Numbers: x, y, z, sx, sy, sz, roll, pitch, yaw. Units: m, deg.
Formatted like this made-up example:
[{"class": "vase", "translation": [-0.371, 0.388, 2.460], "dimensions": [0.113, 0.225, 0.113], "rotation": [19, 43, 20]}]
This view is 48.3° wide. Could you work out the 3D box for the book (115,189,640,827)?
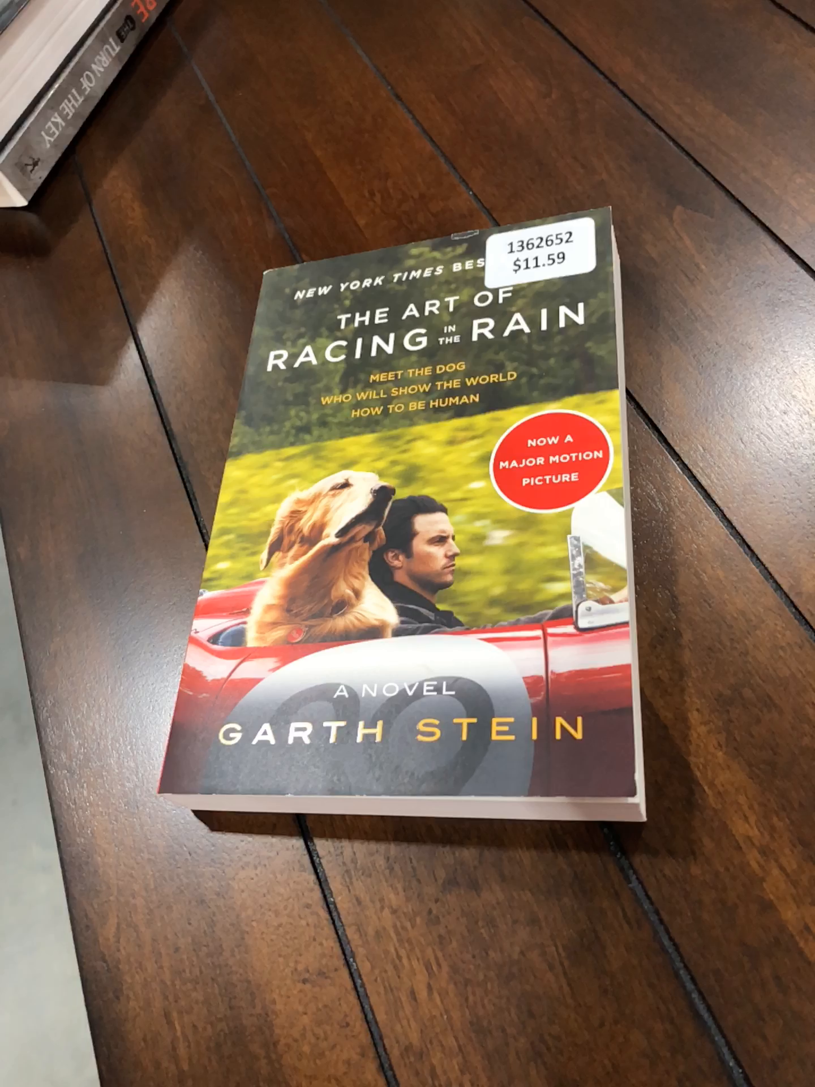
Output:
[{"class": "book", "translation": [-0.003, -0.019, 0.295], "dimensions": [0.140, 0.028, 0.210], "rotation": [-5, 59, 17]}]
